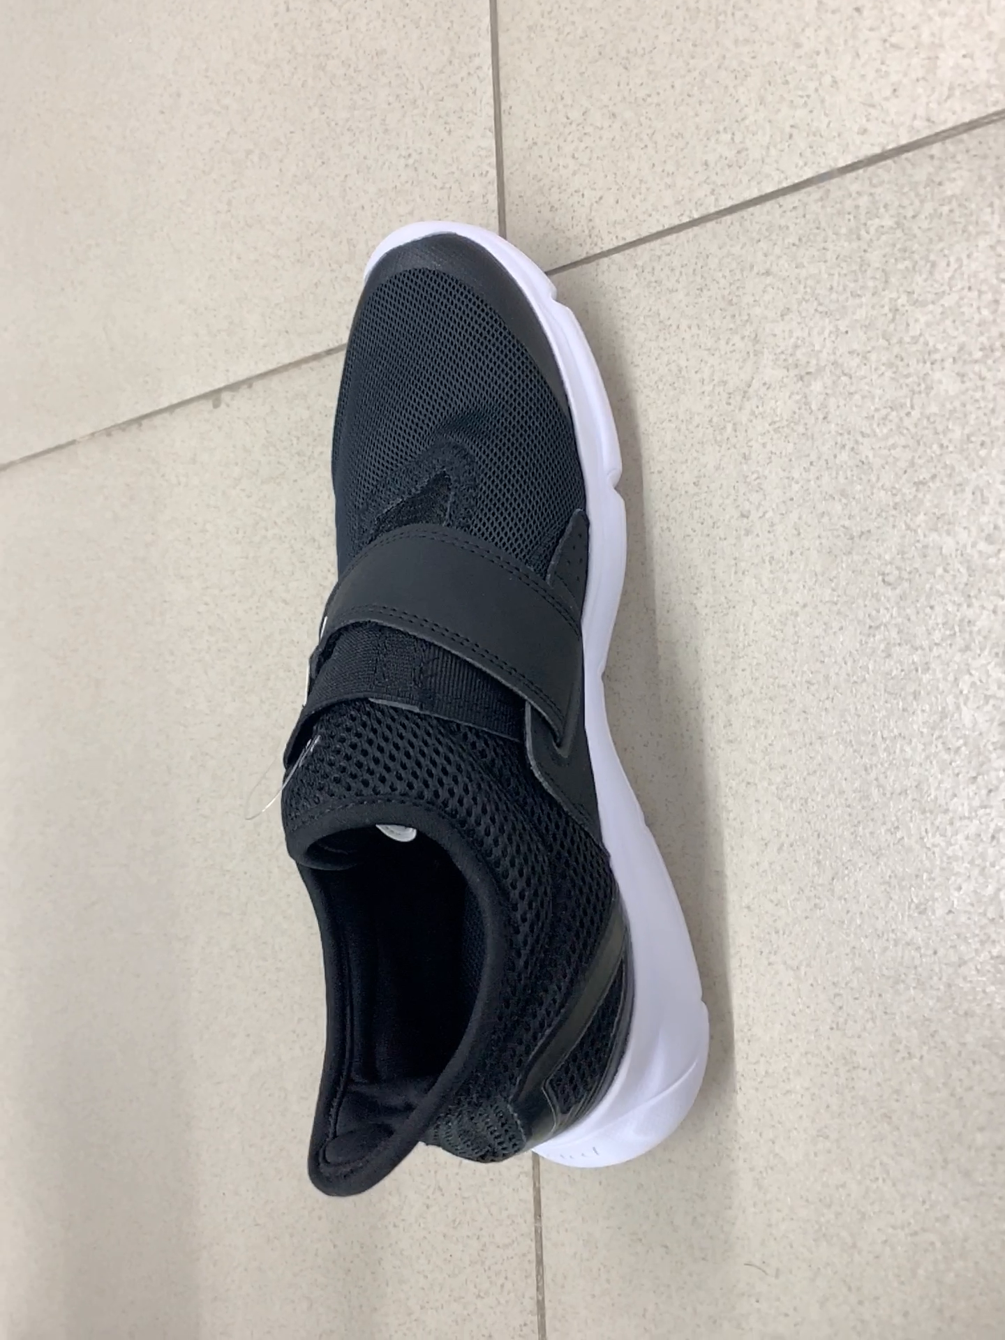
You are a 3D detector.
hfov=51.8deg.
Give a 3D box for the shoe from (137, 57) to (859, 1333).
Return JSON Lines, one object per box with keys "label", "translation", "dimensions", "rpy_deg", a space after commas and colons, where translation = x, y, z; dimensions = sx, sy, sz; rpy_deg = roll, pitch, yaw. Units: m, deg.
{"label": "shoe", "translation": [-0.005, 0.007, 0.271], "dimensions": [0.111, 0.099, 0.250], "rpy_deg": [-16, 80, 37]}
